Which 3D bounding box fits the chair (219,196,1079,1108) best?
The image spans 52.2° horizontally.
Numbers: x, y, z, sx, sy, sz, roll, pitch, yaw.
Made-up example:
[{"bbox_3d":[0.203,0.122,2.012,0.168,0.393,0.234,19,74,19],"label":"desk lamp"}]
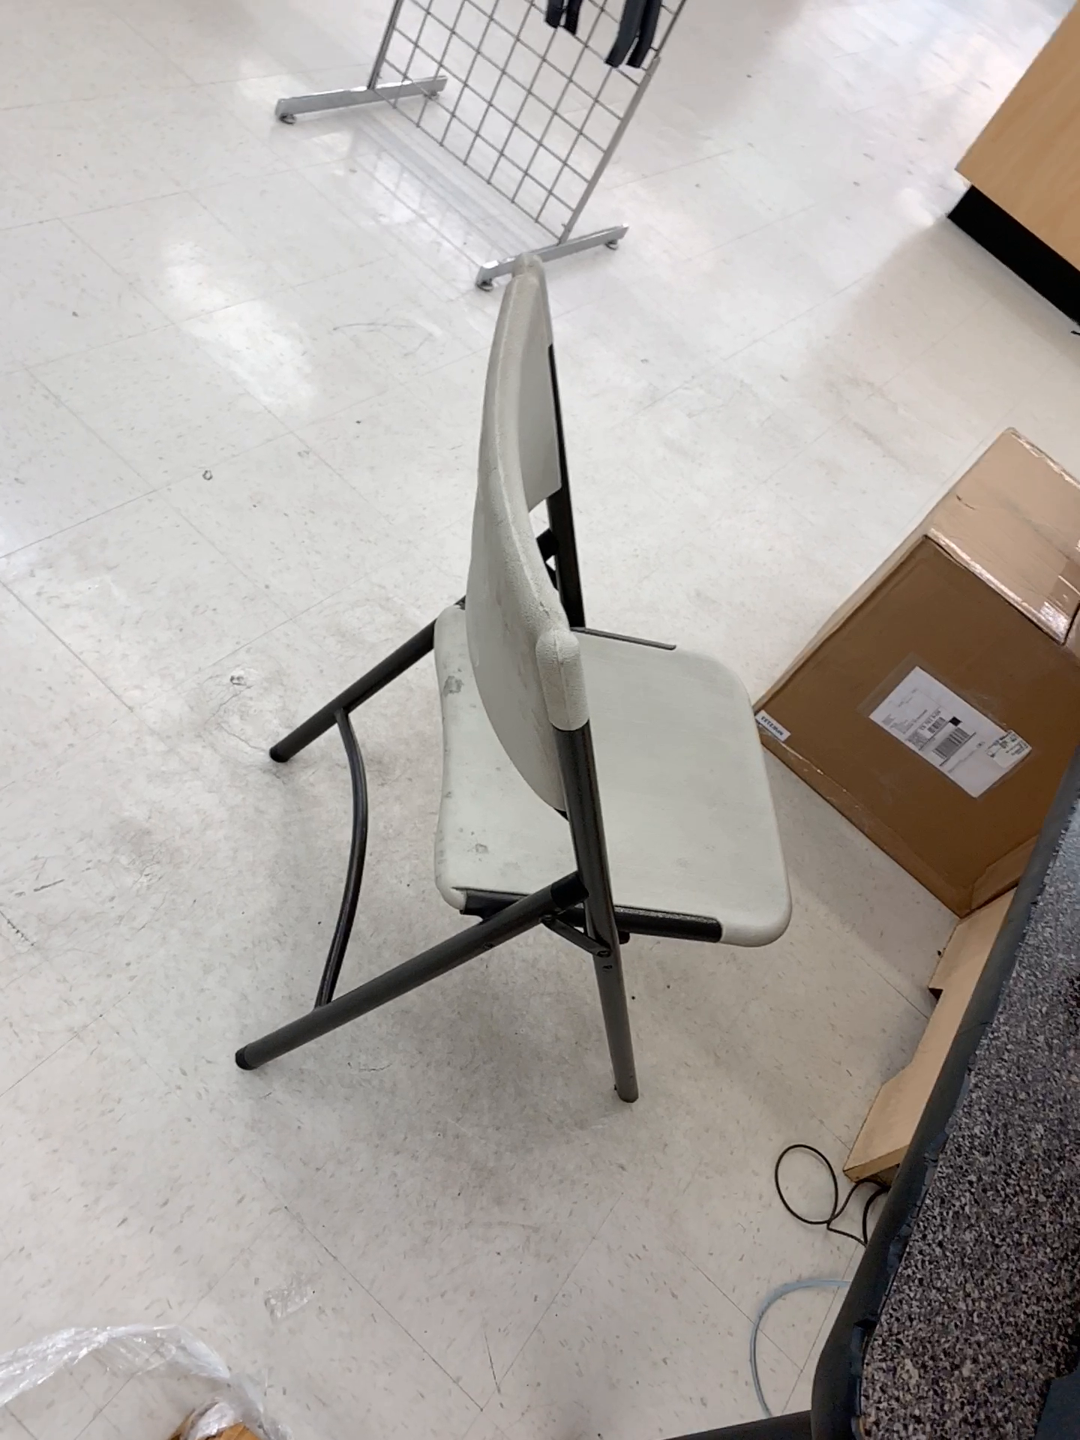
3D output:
[{"bbox_3d":[0.042,0.017,1.183,0.561,0.747,0.532,12,51,-21],"label":"chair"}]
